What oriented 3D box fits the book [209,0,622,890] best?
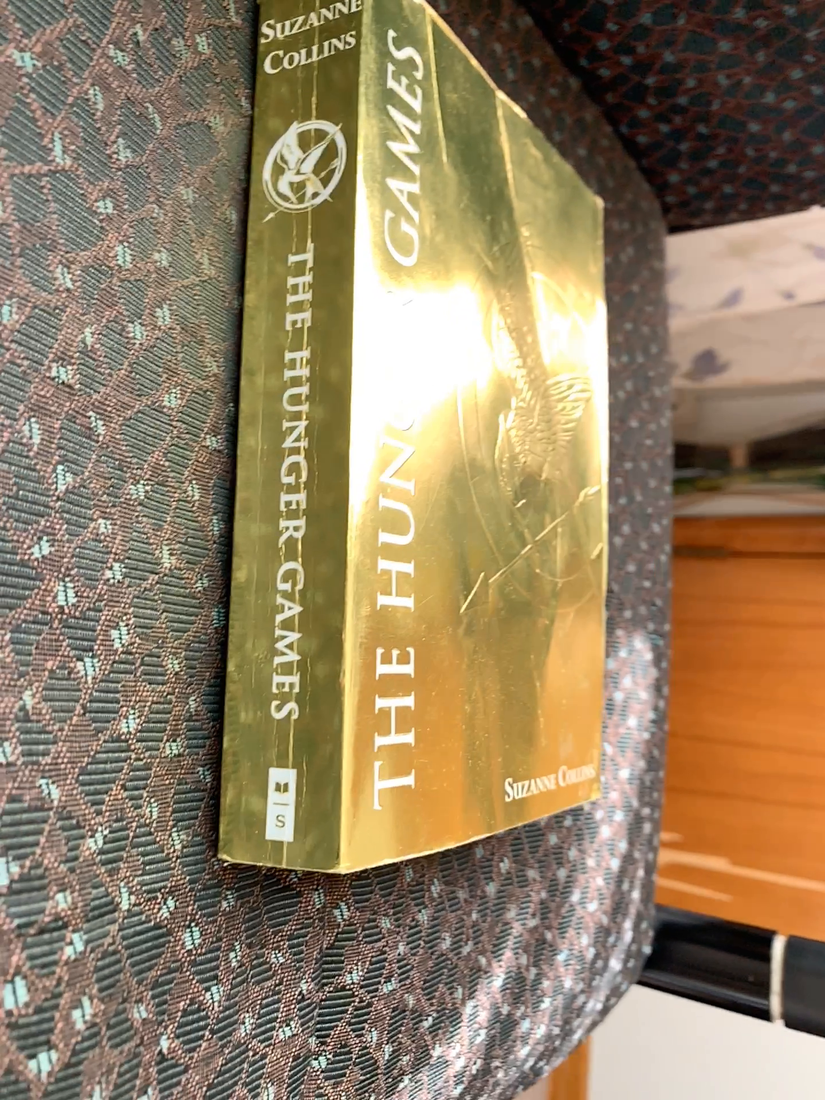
[{"bbox_3d":[0.014,-0.028,0.239,0.143,0.037,0.200,12,77,-56],"label":"book"}]
